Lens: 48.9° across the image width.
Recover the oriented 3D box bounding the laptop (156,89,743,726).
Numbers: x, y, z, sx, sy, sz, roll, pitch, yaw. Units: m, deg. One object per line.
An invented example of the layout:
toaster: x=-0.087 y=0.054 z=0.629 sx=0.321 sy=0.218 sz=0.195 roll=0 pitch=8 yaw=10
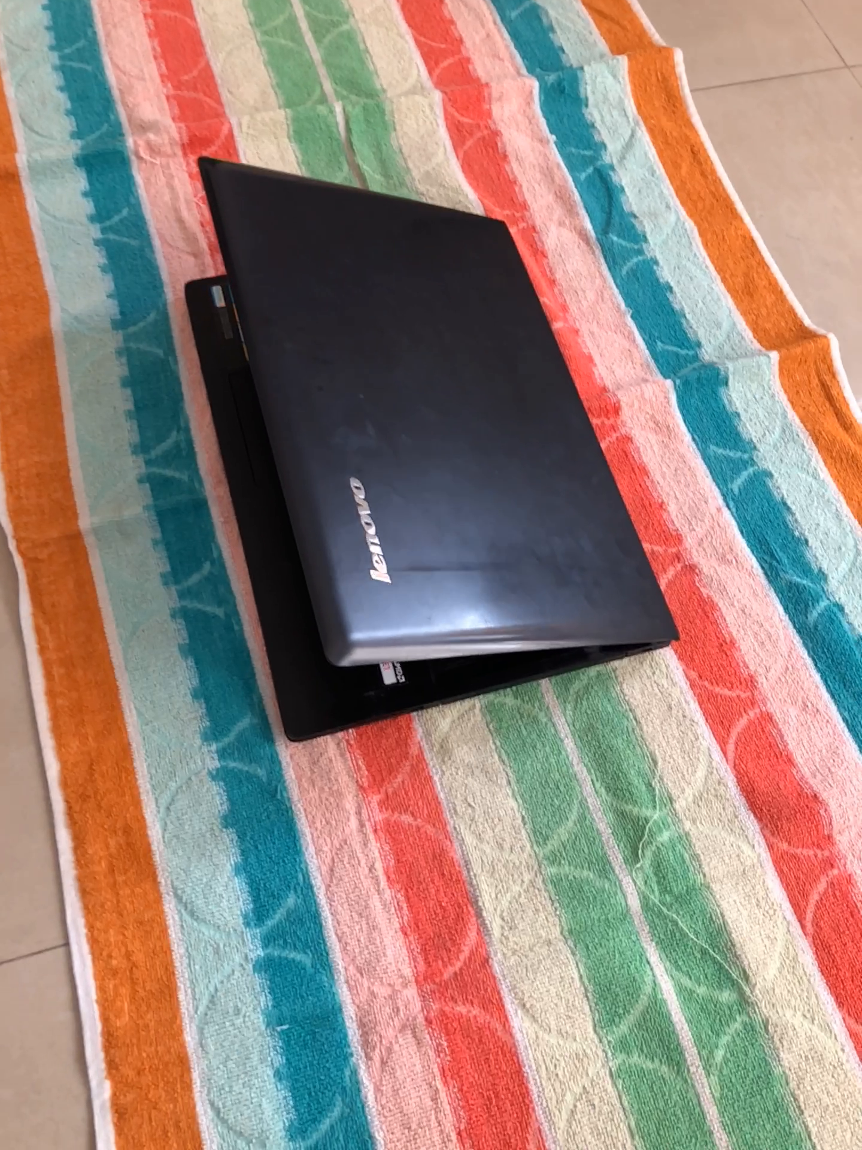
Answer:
laptop: x=-0.006 y=-0.123 z=0.613 sx=0.253 sy=0.126 sz=0.364 roll=-13 pitch=66 yaw=-13
